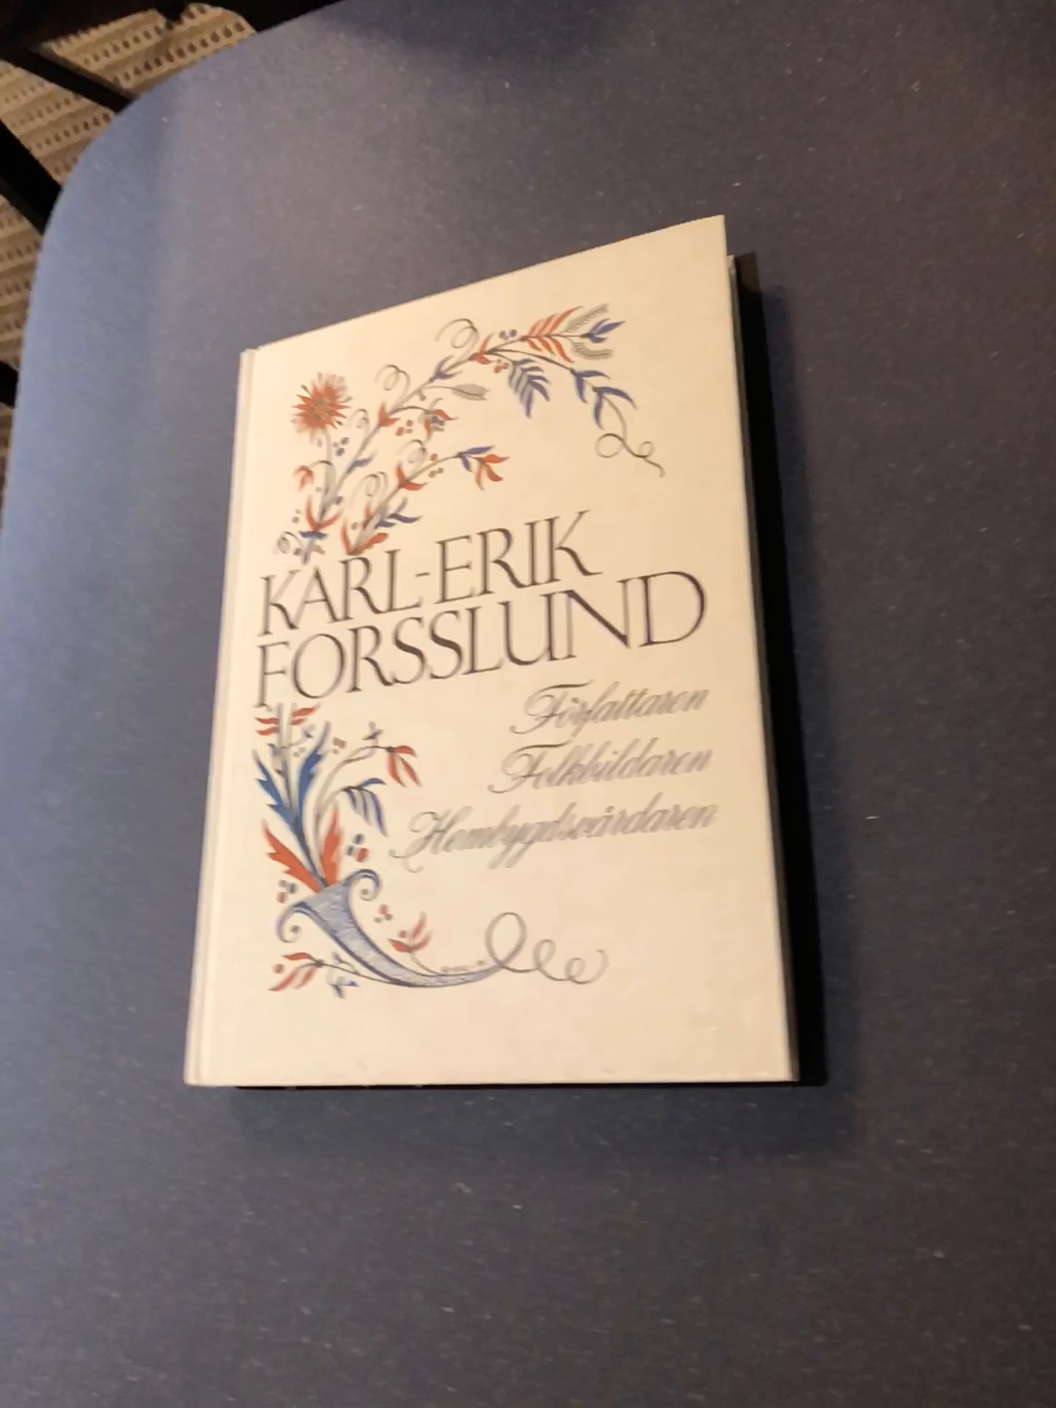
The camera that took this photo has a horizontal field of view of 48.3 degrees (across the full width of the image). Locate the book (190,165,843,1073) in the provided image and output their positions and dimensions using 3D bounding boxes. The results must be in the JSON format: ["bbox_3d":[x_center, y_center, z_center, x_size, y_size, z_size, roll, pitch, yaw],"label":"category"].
[{"bbox_3d":[-0.008,-0.020,0.324,0.164,0.028,0.232,-8,70,24],"label":"book"}]
